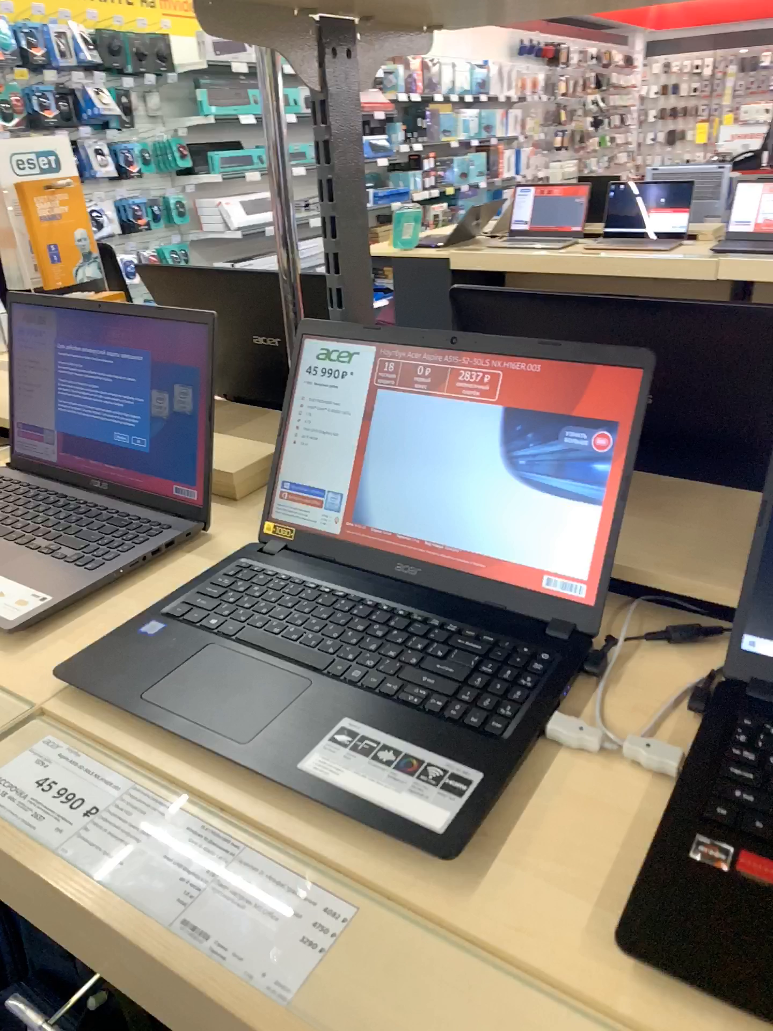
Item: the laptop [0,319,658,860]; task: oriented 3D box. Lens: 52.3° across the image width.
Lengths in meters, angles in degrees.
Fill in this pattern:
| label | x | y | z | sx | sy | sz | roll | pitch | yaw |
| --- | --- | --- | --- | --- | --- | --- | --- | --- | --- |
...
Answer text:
| label | x | y | z | sx | sy | sz | roll | pitch | yaw |
| --- | --- | --- | --- | --- | --- | --- | --- | --- | --- |
| laptop | -0.025 | -0.004 | 0.641 | 0.368 | 0.208 | 0.365 | 13 | 30 | 30 |
